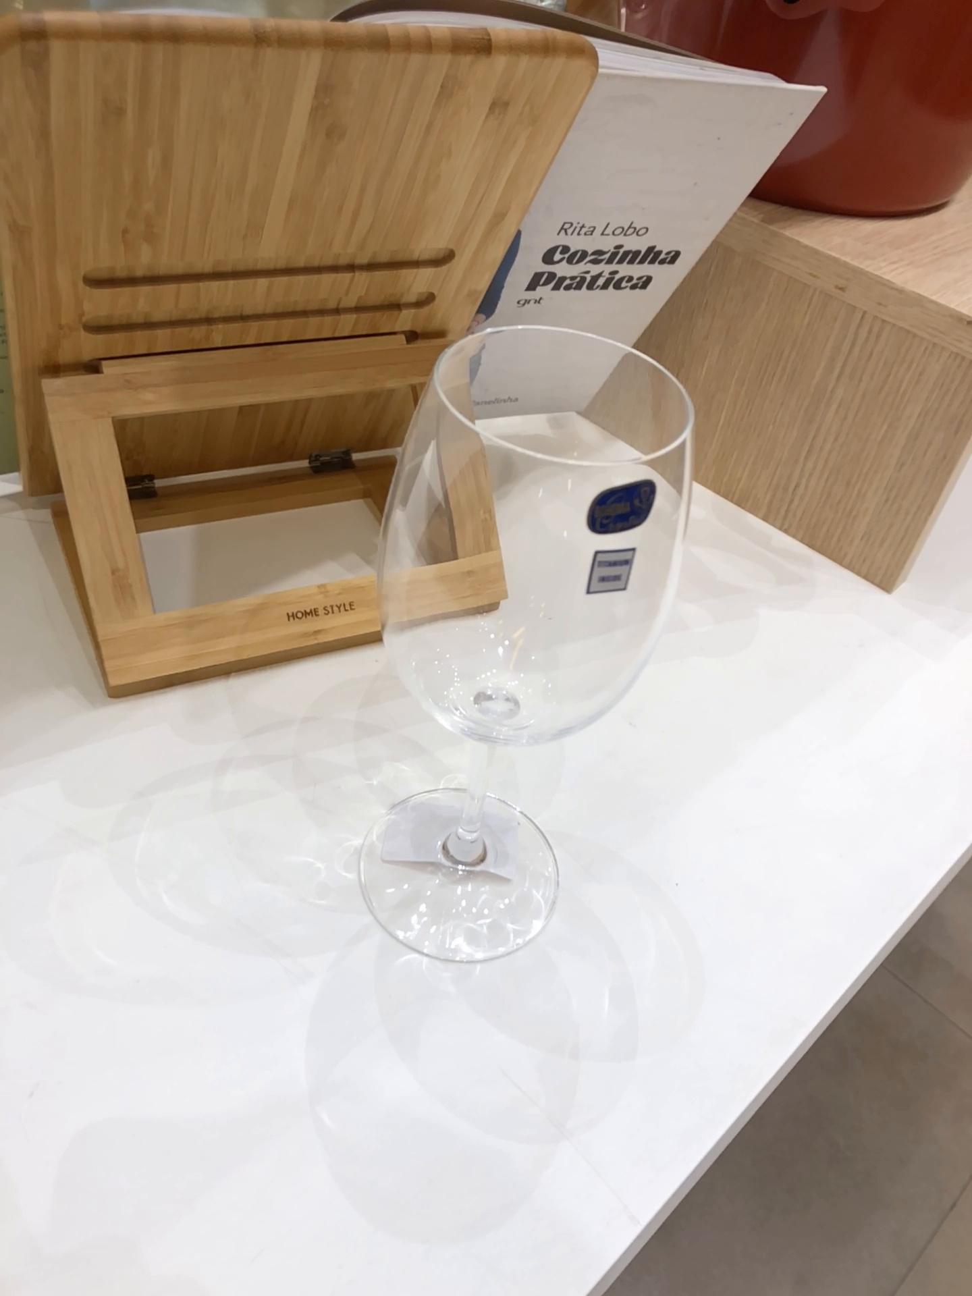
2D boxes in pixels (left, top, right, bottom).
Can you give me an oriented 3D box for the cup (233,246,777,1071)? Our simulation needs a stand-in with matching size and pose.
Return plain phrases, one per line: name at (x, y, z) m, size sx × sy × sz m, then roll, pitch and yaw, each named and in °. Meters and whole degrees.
cup at (-0.011, 0.015, 0.341) m, size 0.100 × 0.238 × 0.090 m, roll -25°, pitch 53°, yaw -34°
